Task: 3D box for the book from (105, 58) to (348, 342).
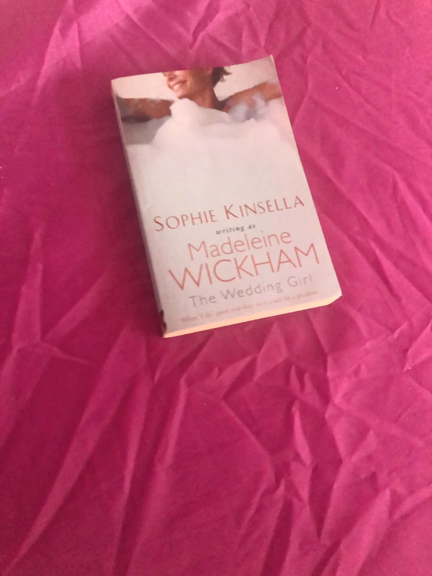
[{"bbox_3d":[0.003,-0.073,0.356,0.135,0.027,0.202,-10,76,-12],"label":"book"}]
